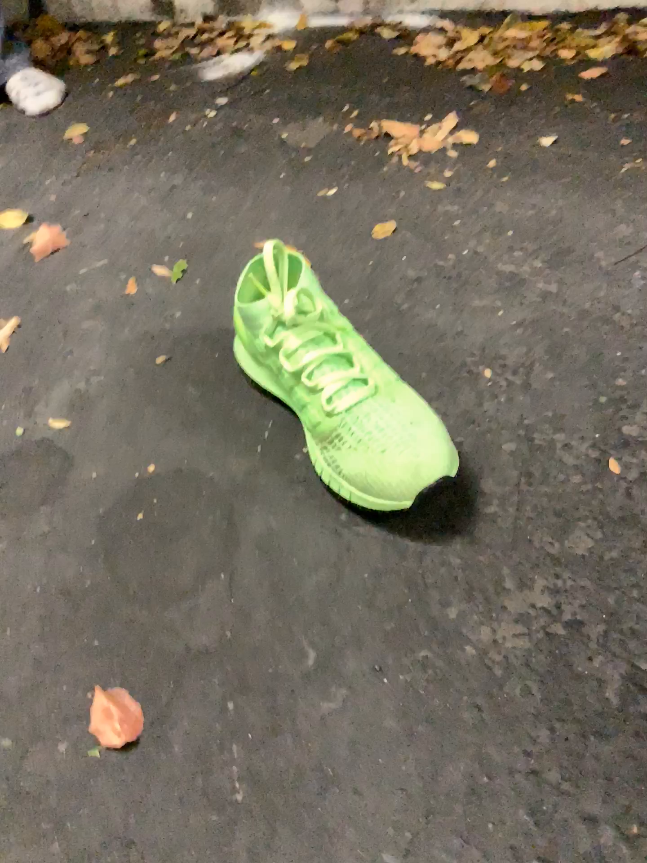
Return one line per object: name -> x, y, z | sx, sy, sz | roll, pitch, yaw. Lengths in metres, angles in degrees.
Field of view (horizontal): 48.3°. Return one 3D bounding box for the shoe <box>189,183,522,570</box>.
shoe -> 0.009, -0.068, 0.610 | 0.130, 0.150, 0.320 | -20, 43, -15
